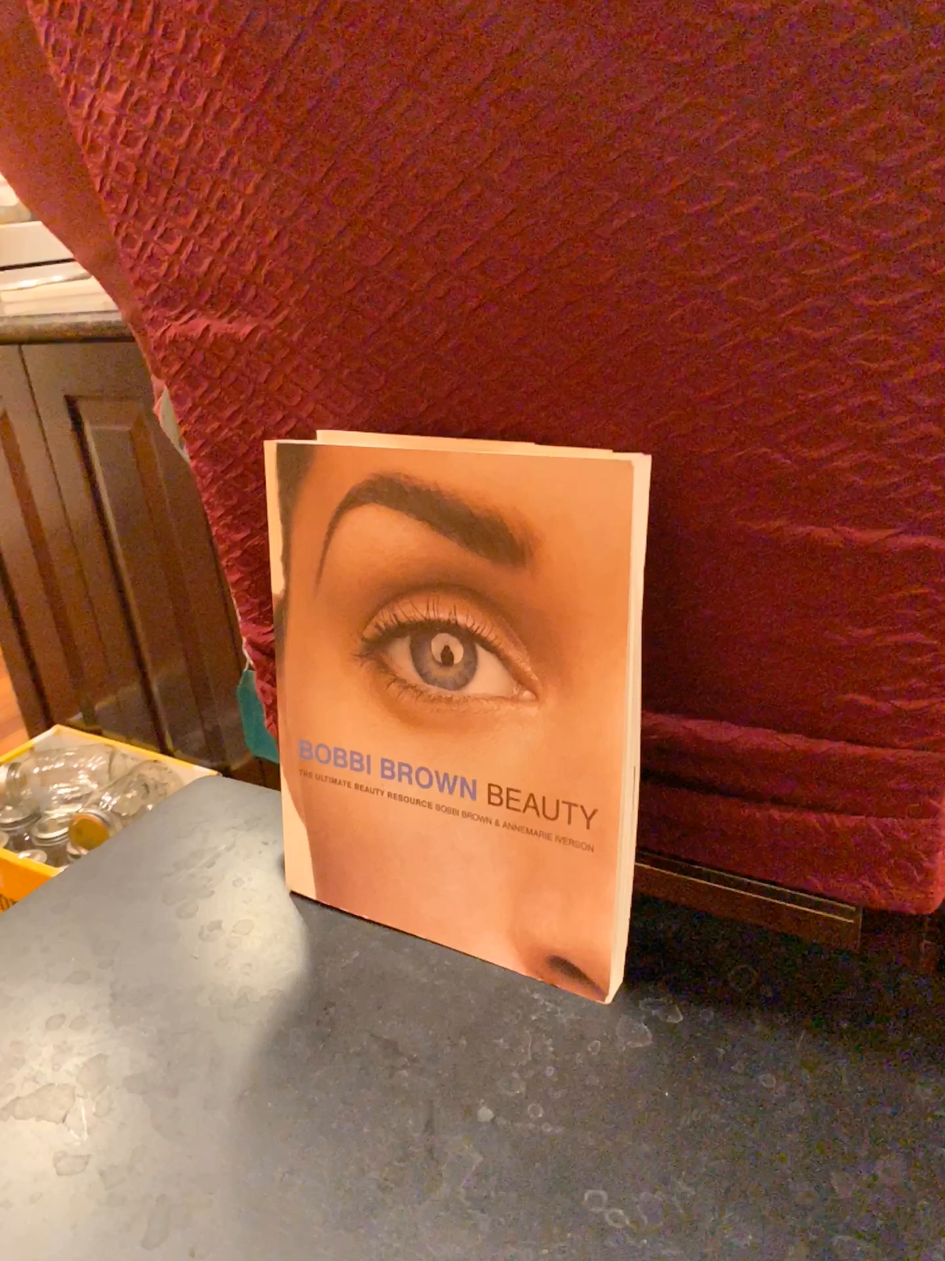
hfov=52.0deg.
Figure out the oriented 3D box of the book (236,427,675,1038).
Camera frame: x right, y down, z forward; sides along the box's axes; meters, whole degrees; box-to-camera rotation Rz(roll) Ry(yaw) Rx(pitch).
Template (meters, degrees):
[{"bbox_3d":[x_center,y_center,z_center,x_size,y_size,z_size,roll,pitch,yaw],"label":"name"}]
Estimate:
[{"bbox_3d":[-0.016,0.034,0.433,0.200,0.239,0.030,9,16,32],"label":"book"}]
